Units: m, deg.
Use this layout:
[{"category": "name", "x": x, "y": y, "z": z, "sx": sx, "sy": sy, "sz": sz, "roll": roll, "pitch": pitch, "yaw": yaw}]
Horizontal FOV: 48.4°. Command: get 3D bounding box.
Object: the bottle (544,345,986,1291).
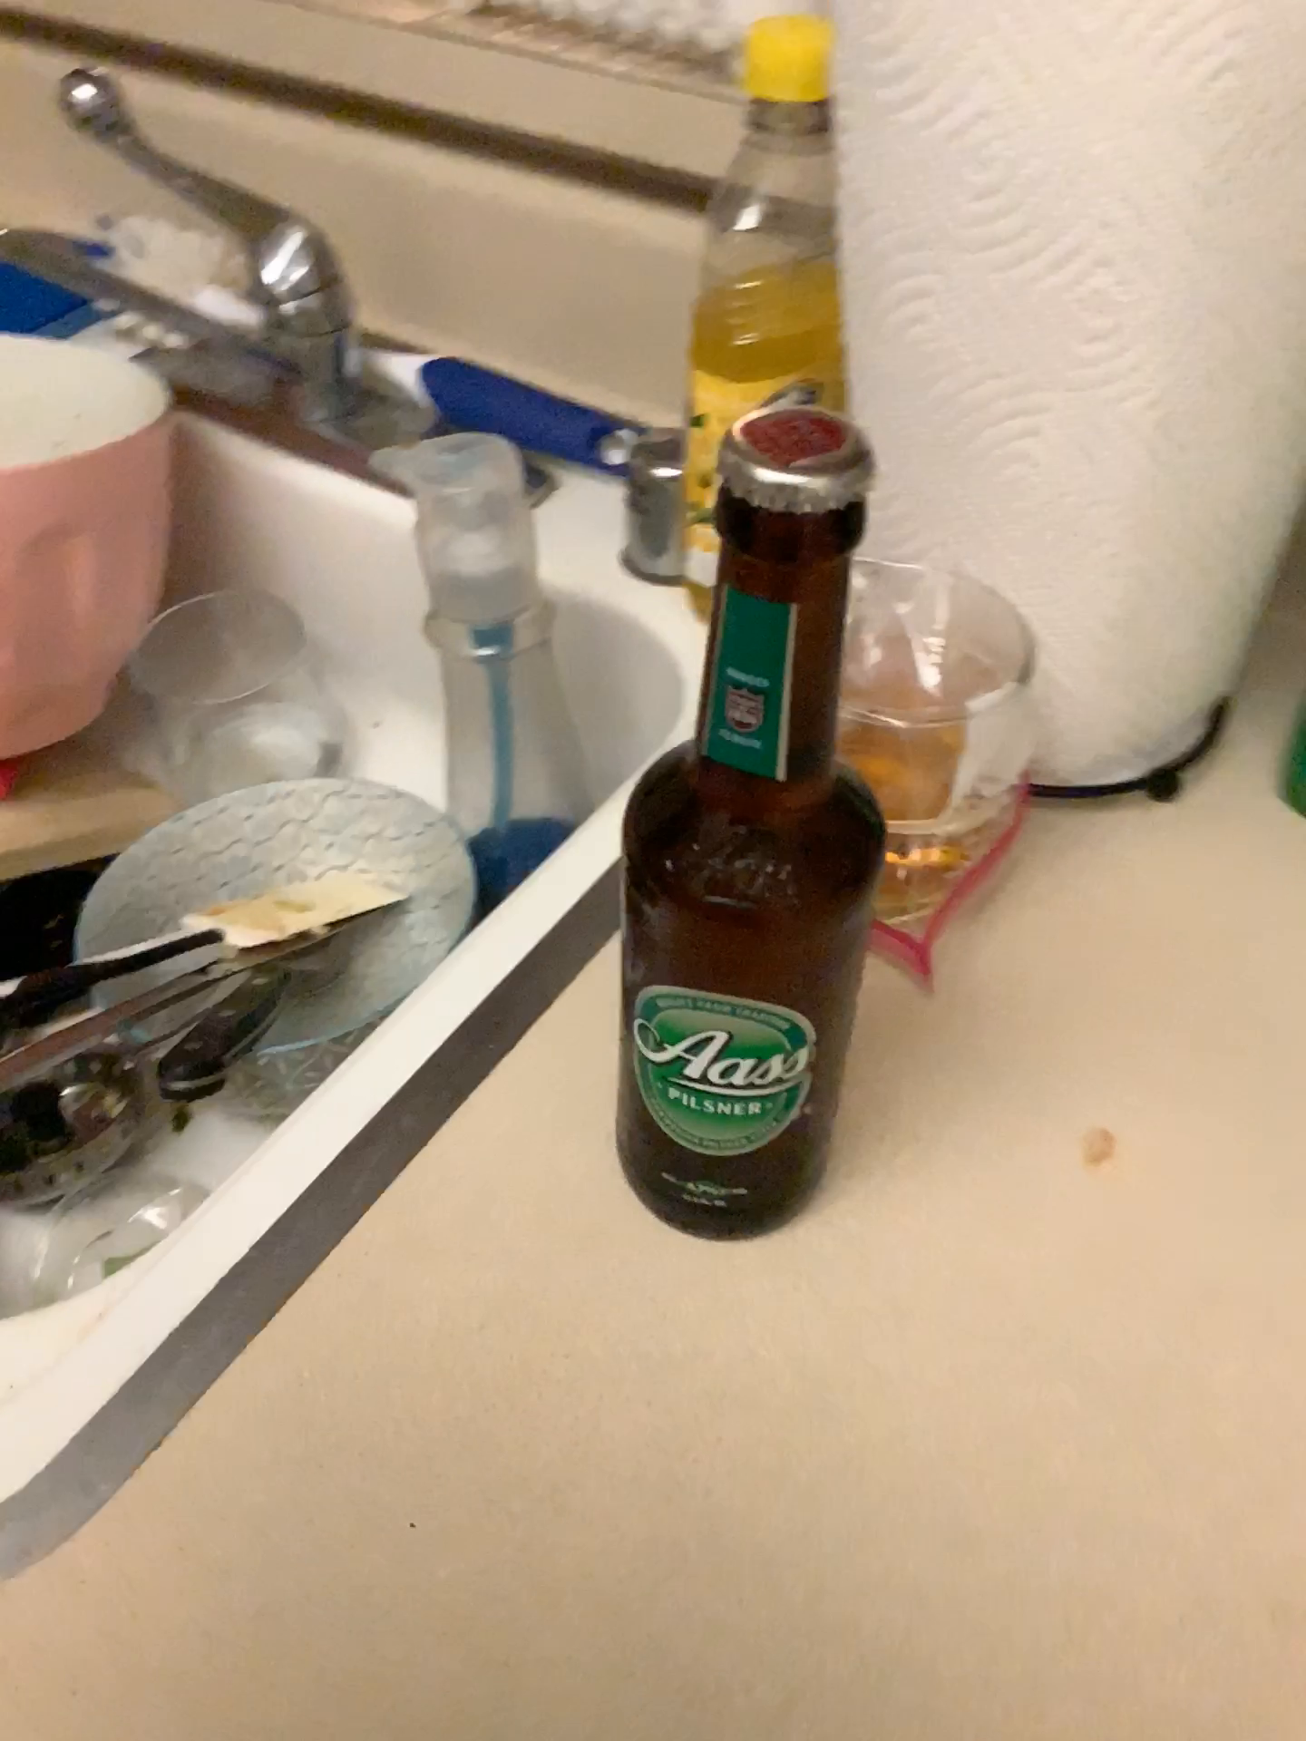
[{"category": "bottle", "x": 0.020, "y": 0.005, "z": 0.340, "sx": 0.070, "sy": 0.230, "sz": 0.060, "roll": 10, "pitch": 45, "yaw": 8}]
